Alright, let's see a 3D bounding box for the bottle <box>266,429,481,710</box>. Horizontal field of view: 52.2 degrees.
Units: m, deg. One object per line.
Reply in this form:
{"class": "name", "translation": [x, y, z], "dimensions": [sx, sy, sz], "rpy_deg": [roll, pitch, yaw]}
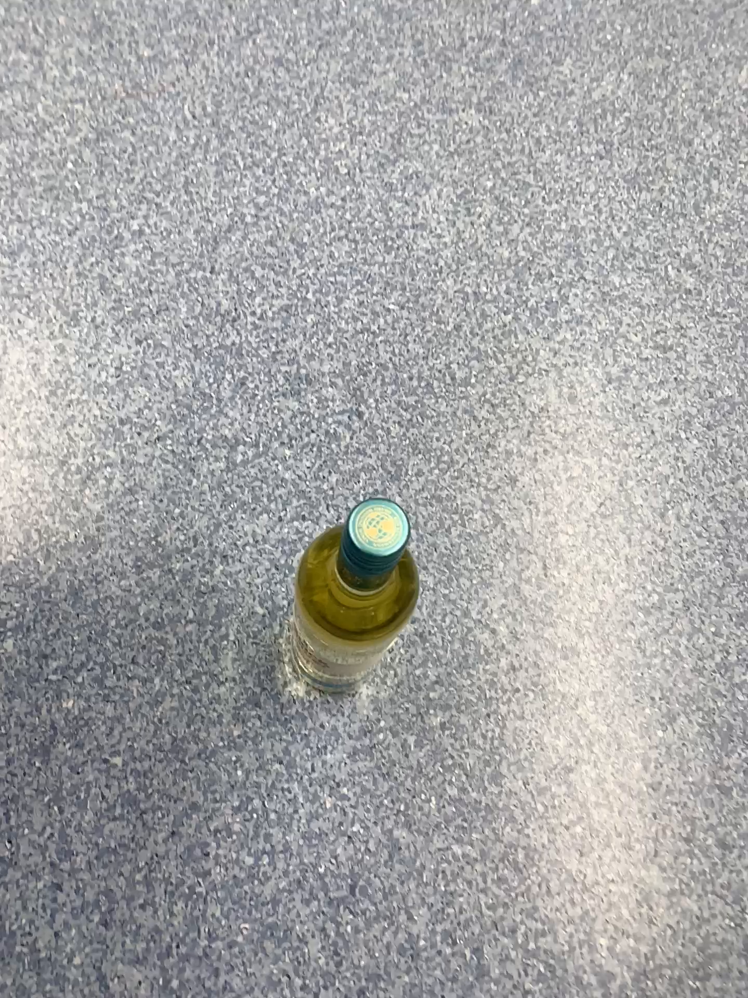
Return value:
{"class": "bottle", "translation": [-0.017, 0.067, 0.479], "dimensions": [0.065, 0.307, 0.071], "rpy_deg": [2, 69, -6]}
